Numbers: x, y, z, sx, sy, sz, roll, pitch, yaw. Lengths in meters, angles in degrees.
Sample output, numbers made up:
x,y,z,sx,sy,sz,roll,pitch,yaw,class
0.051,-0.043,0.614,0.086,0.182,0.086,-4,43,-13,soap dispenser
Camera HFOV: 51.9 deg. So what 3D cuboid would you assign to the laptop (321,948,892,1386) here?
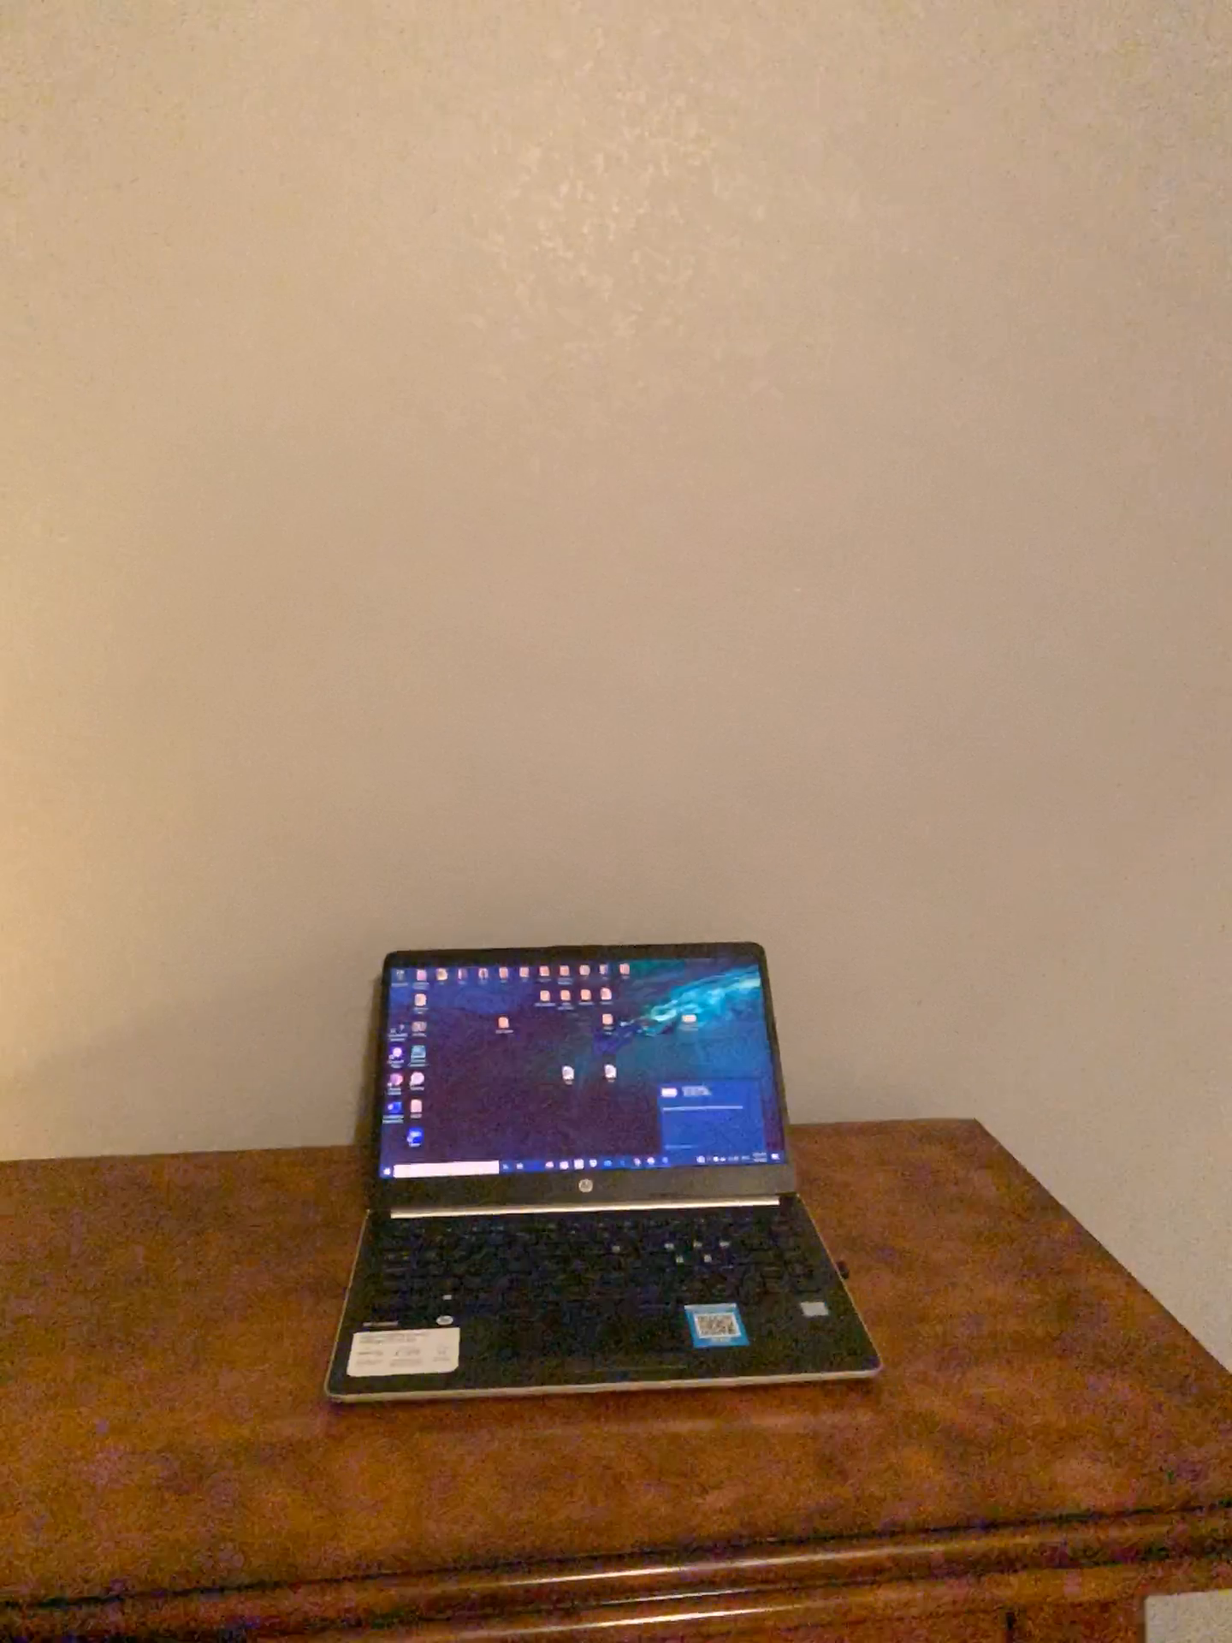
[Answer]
x,y,z,sx,sy,sz,roll,pitch,yaw,class
-0.019,0.212,0.892,0.317,0.152,0.368,0,9,-5,laptop
